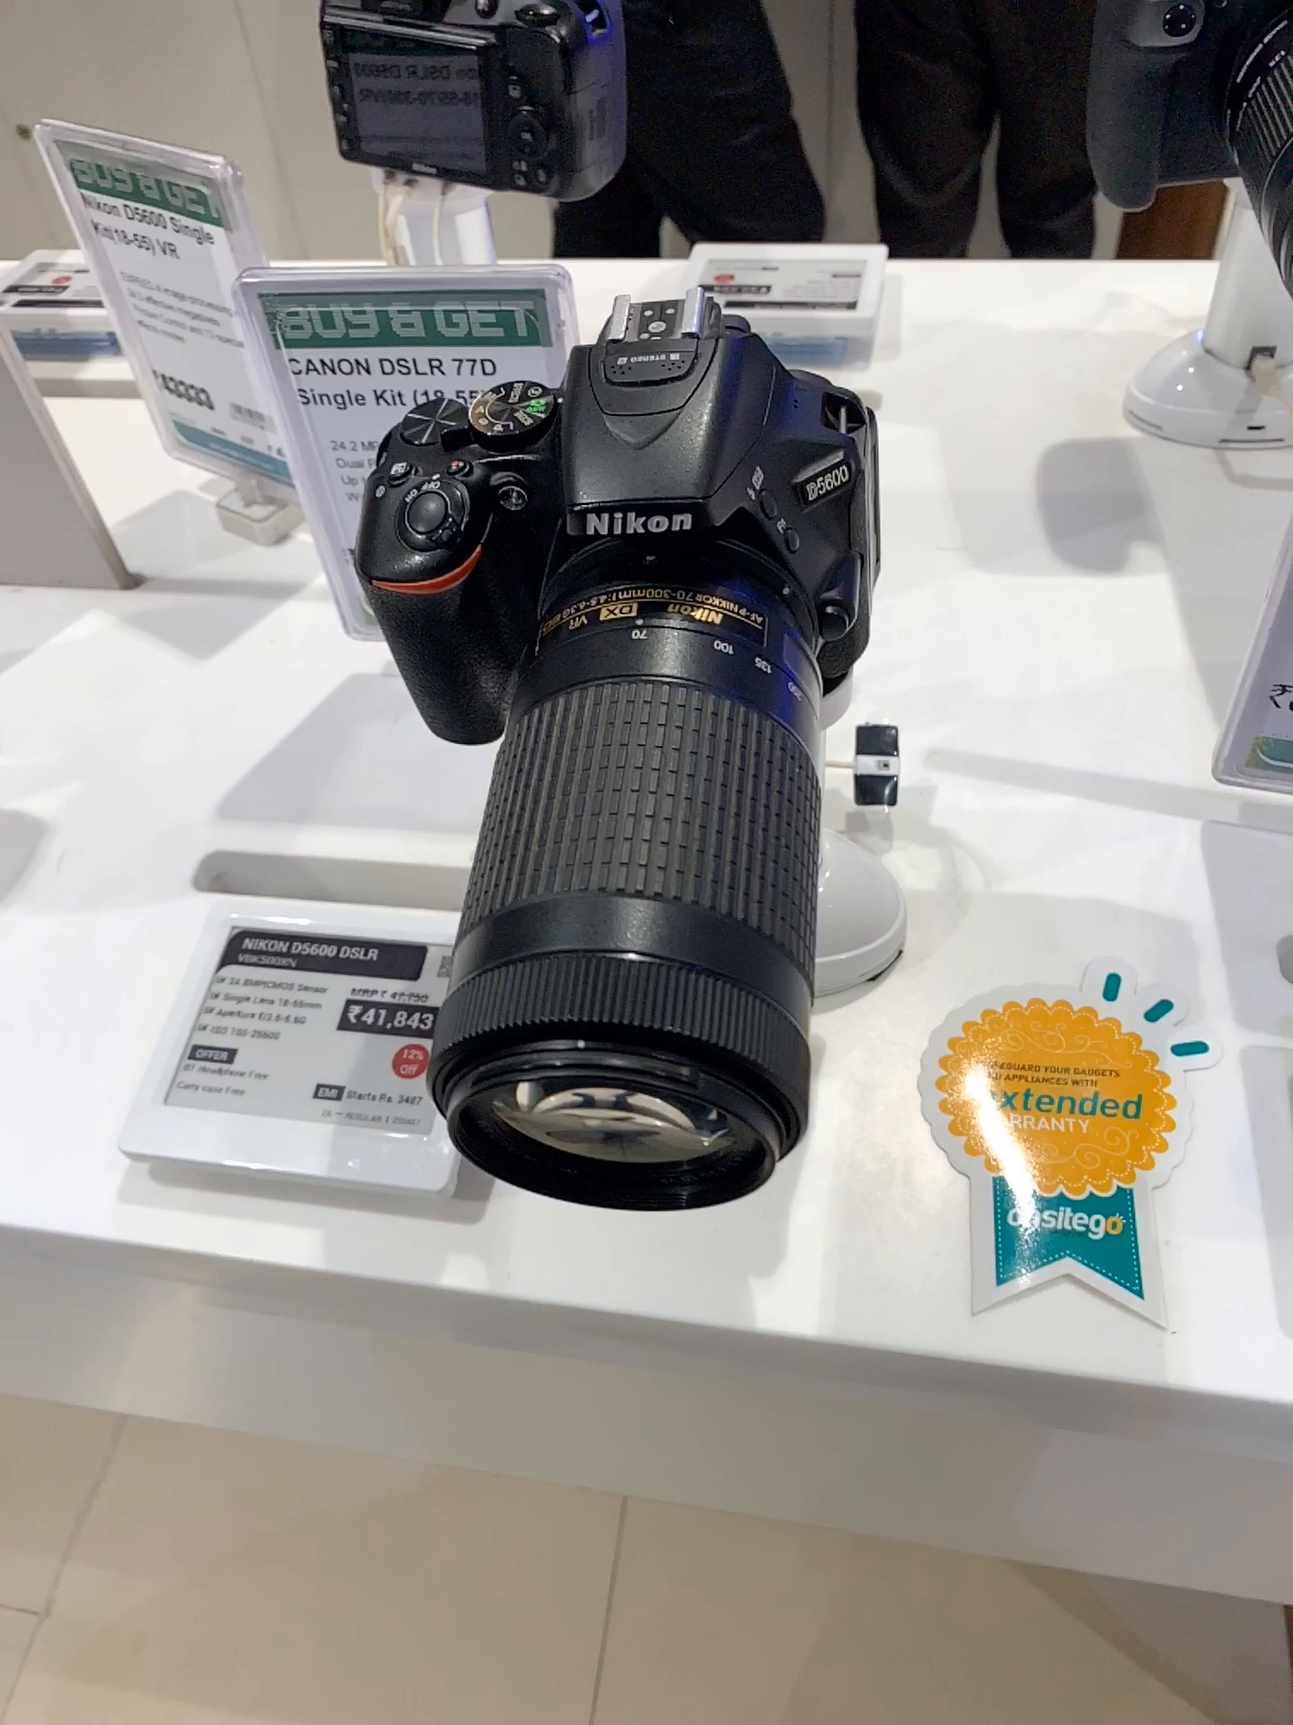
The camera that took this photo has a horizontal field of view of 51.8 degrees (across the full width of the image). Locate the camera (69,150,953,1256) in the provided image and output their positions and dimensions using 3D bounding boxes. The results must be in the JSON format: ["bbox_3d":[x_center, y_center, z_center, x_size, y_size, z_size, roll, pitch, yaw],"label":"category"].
[{"bbox_3d":[-0.003,-0.063,0.311,0.130,0.080,0.281,2,50,8],"label":"camera"}]
